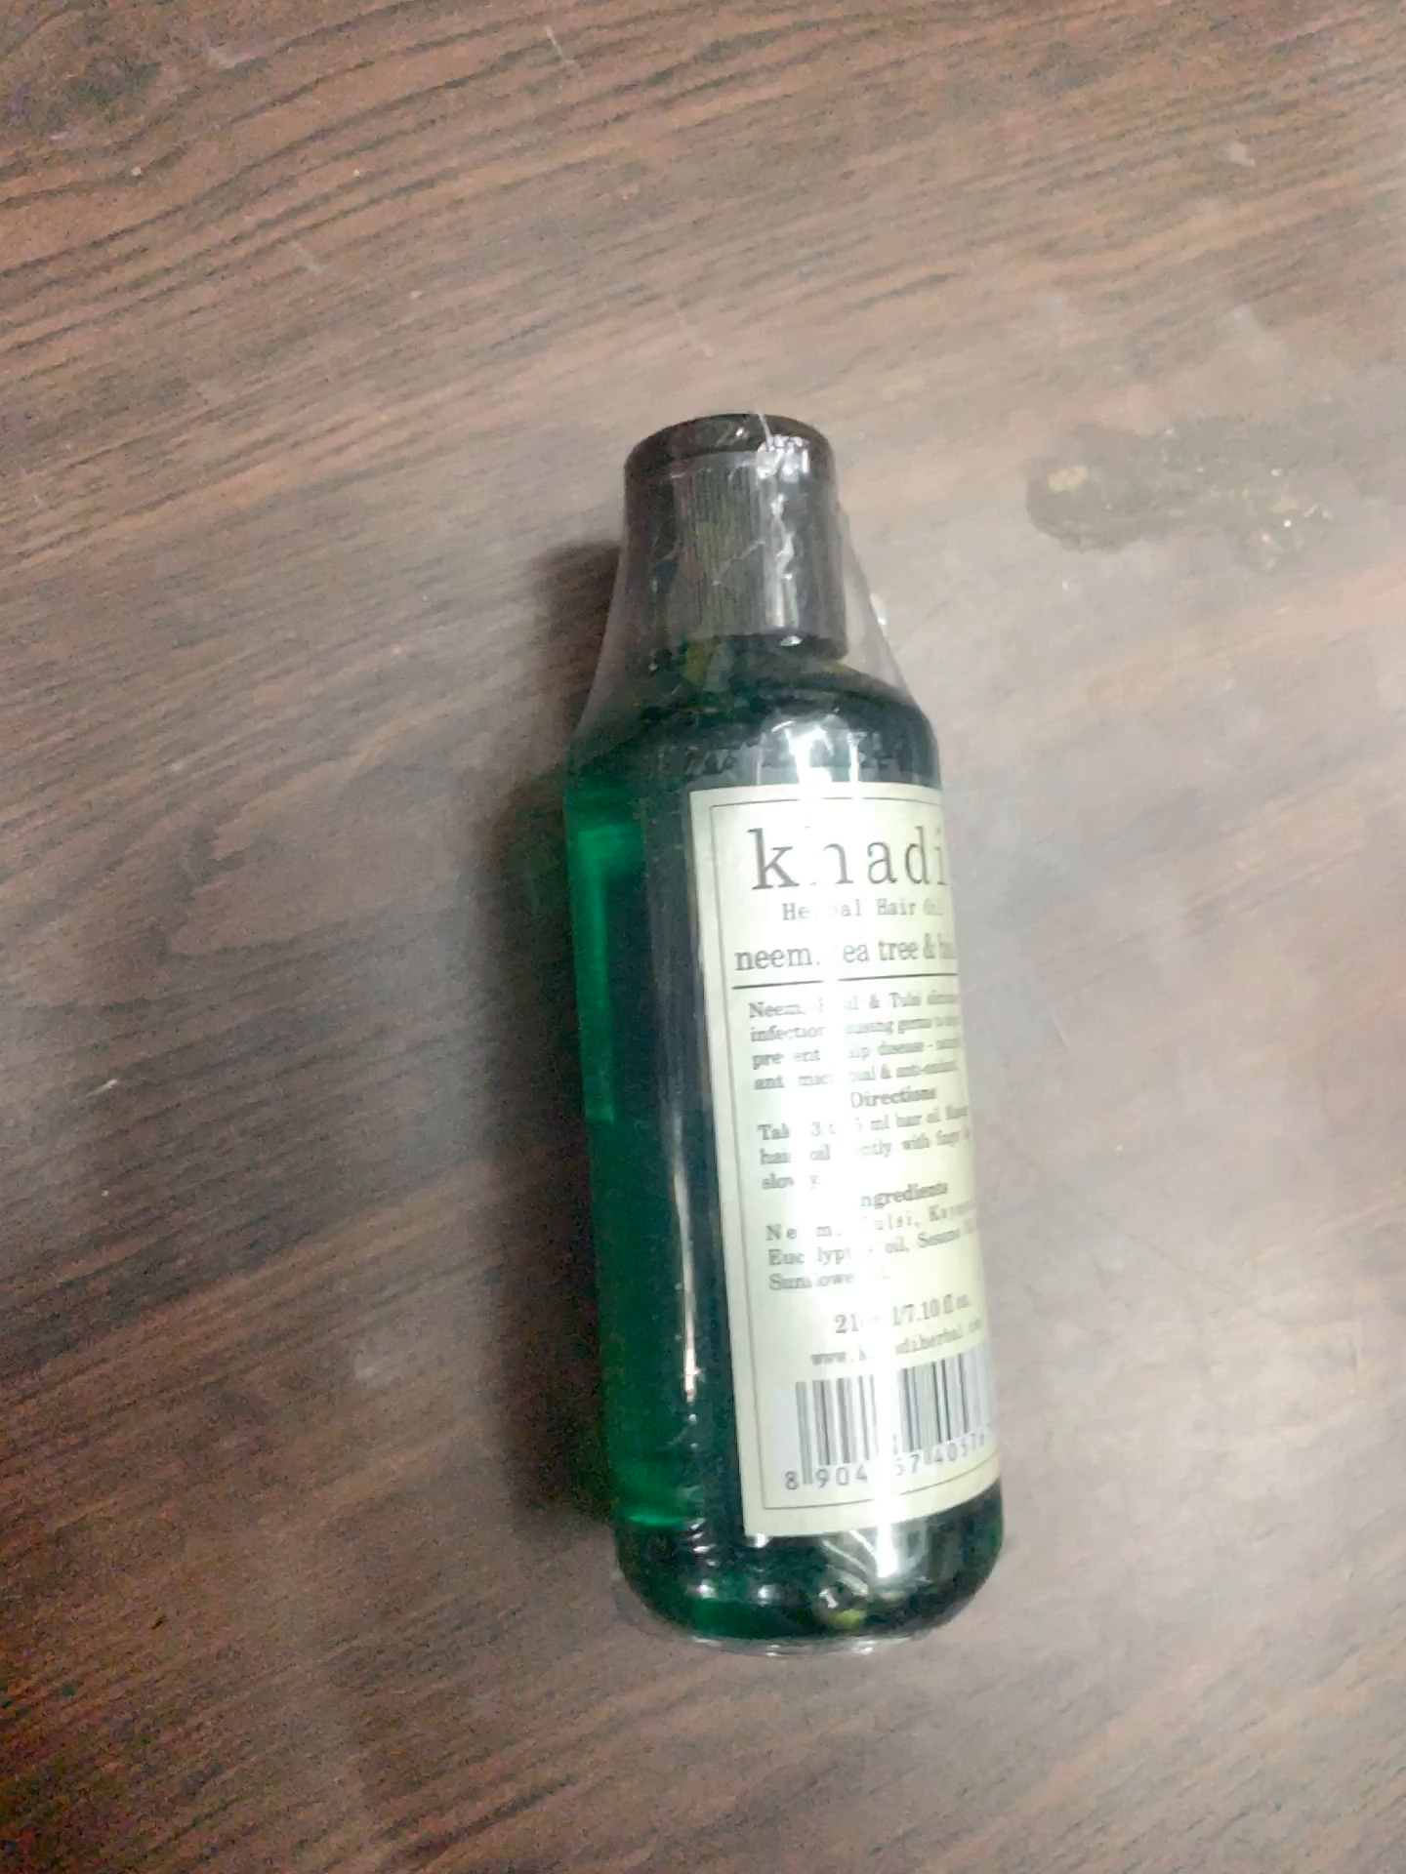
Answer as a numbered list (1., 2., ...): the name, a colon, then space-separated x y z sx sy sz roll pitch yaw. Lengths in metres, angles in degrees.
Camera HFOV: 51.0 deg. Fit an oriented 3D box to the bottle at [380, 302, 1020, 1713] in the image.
1. bottle: -0.002 0.007 0.191 0.050 0.050 0.150 -2 85 -41
